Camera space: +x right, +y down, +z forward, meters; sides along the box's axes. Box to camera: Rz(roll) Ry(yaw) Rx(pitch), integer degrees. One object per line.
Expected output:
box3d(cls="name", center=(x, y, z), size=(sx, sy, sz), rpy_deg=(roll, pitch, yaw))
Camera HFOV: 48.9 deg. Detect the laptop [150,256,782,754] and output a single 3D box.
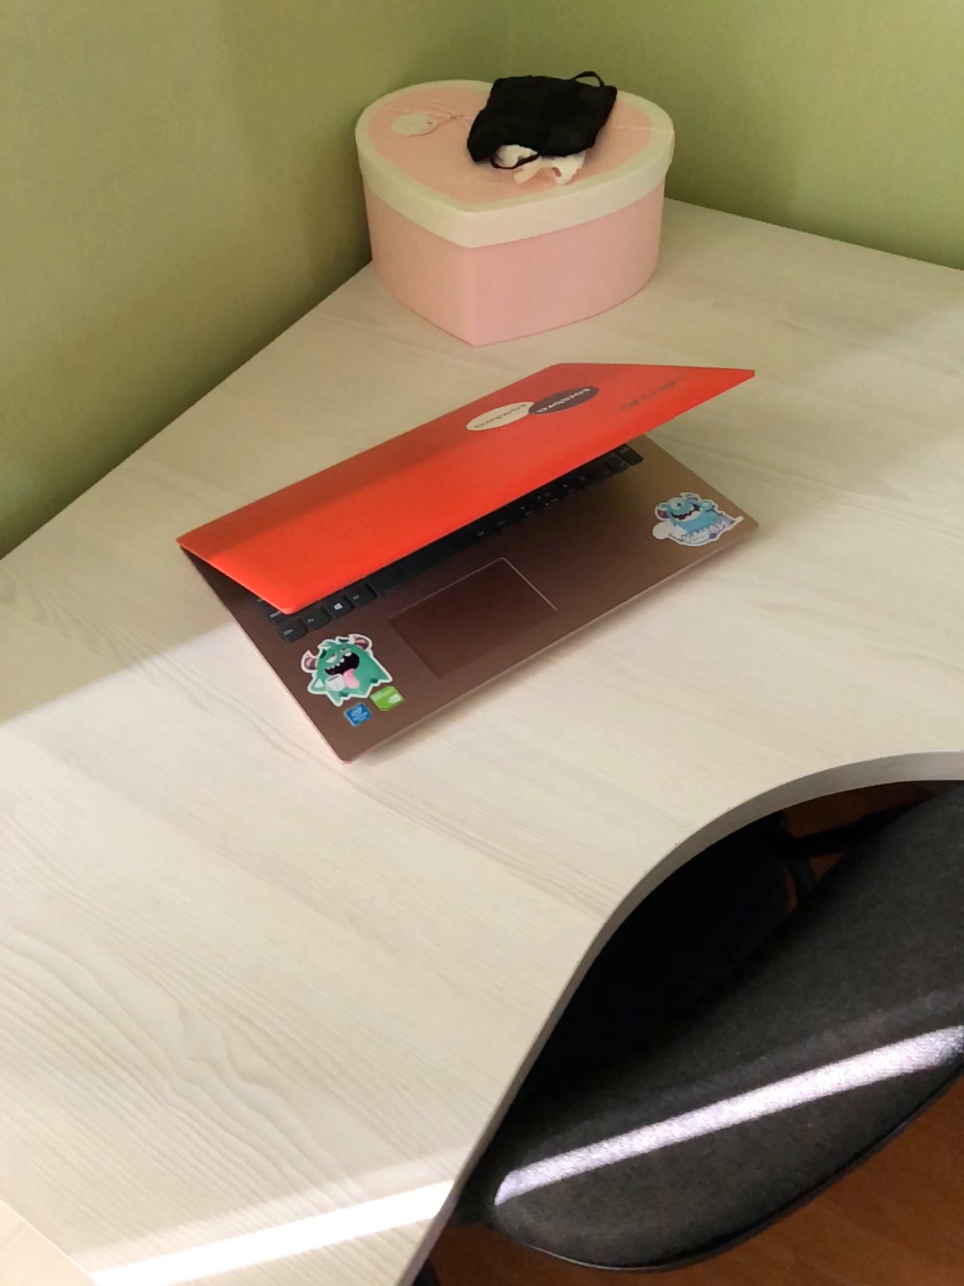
box3d(cls="laptop", center=(-0.008, -0.120, 0.774), size=(0.367, 0.112, 0.233), rpy_deg=(-29, 55, -21))
